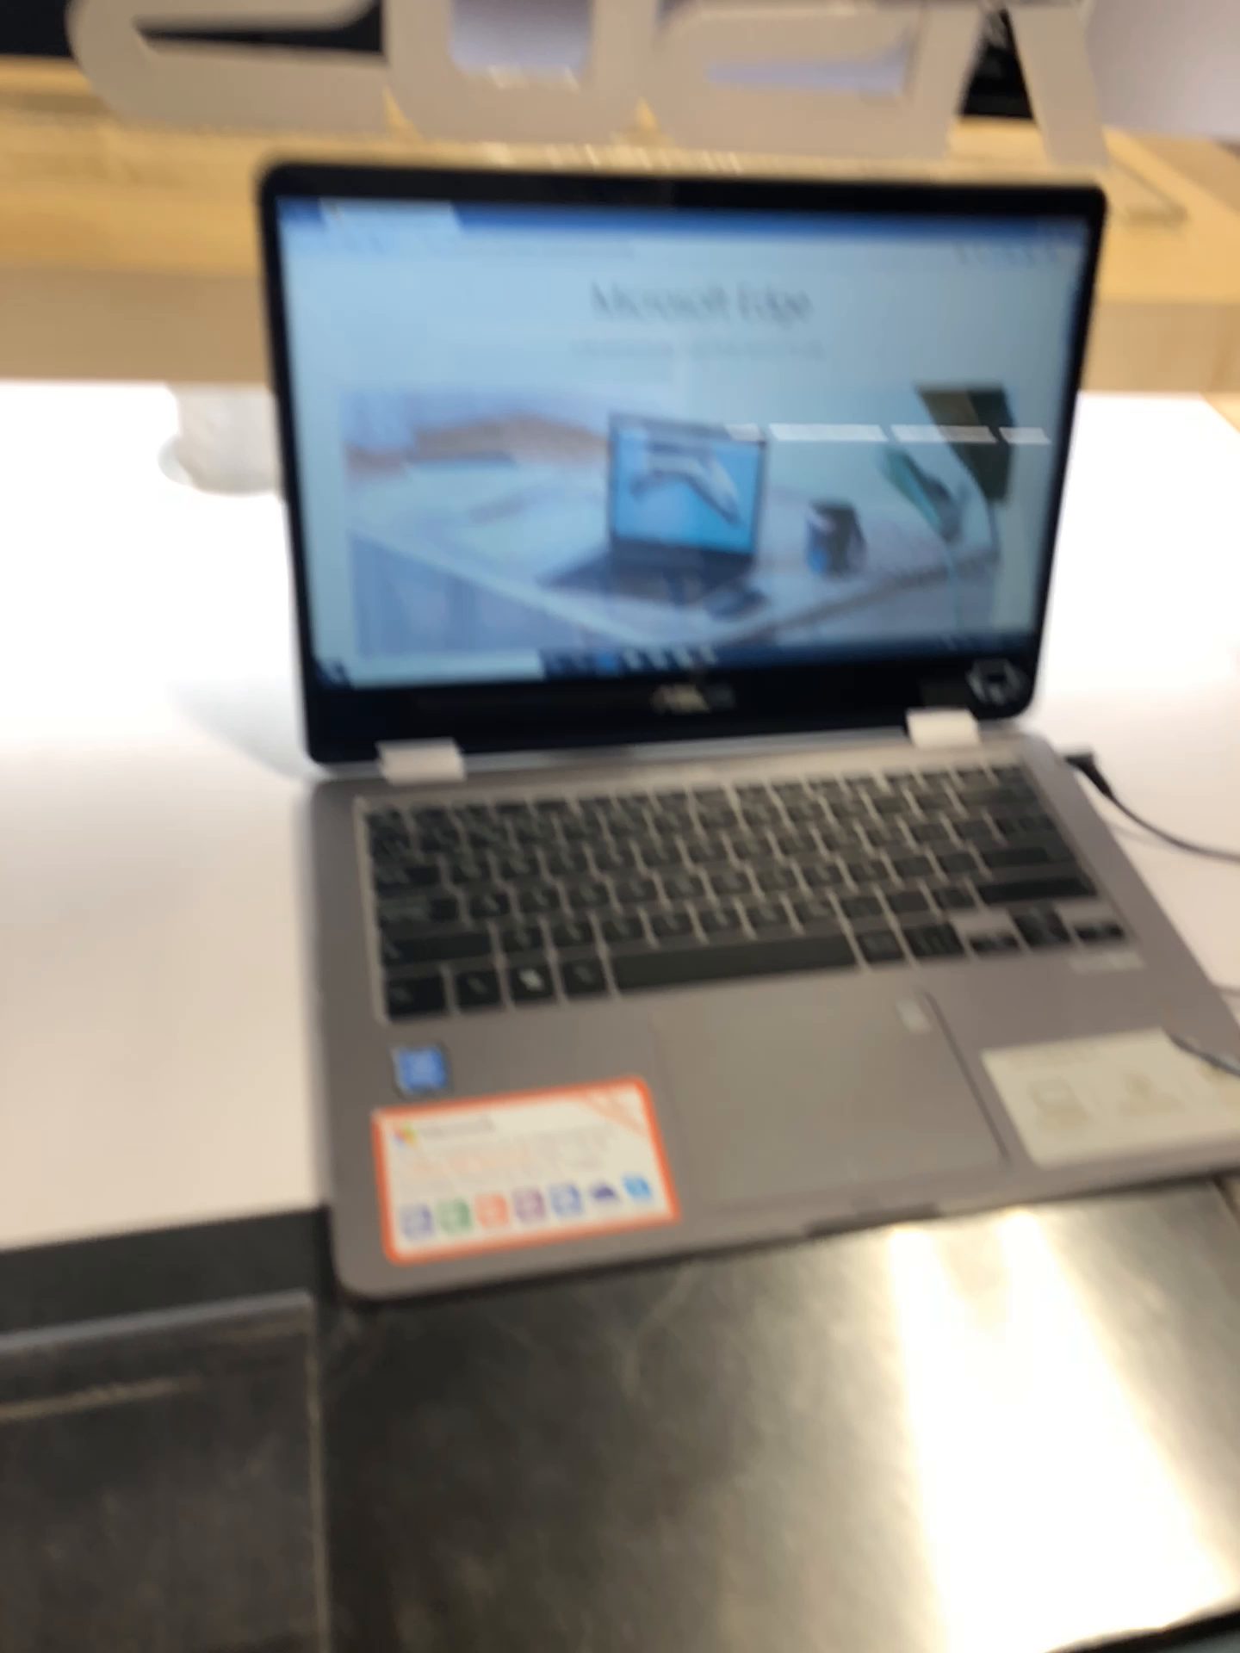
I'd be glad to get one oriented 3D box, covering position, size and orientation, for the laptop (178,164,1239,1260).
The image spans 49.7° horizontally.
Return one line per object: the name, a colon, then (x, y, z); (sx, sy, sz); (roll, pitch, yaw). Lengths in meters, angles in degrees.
laptop: (0.033, -0.064, 0.434); (0.305, 0.212, 0.279); (-7, 43, -15)
